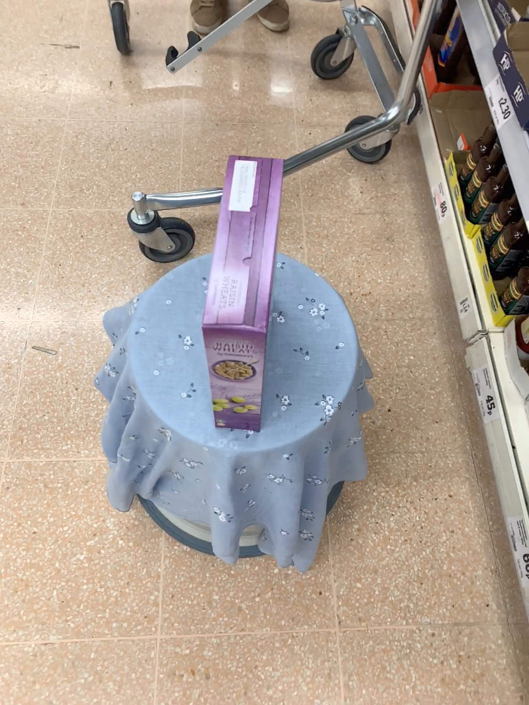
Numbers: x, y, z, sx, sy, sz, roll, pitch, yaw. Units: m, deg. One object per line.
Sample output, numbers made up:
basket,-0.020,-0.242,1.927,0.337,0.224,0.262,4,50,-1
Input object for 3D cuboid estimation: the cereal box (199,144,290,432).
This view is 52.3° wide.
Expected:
cereal box,-0.018,-0.052,0.571,0.060,0.239,0.201,5,63,0
